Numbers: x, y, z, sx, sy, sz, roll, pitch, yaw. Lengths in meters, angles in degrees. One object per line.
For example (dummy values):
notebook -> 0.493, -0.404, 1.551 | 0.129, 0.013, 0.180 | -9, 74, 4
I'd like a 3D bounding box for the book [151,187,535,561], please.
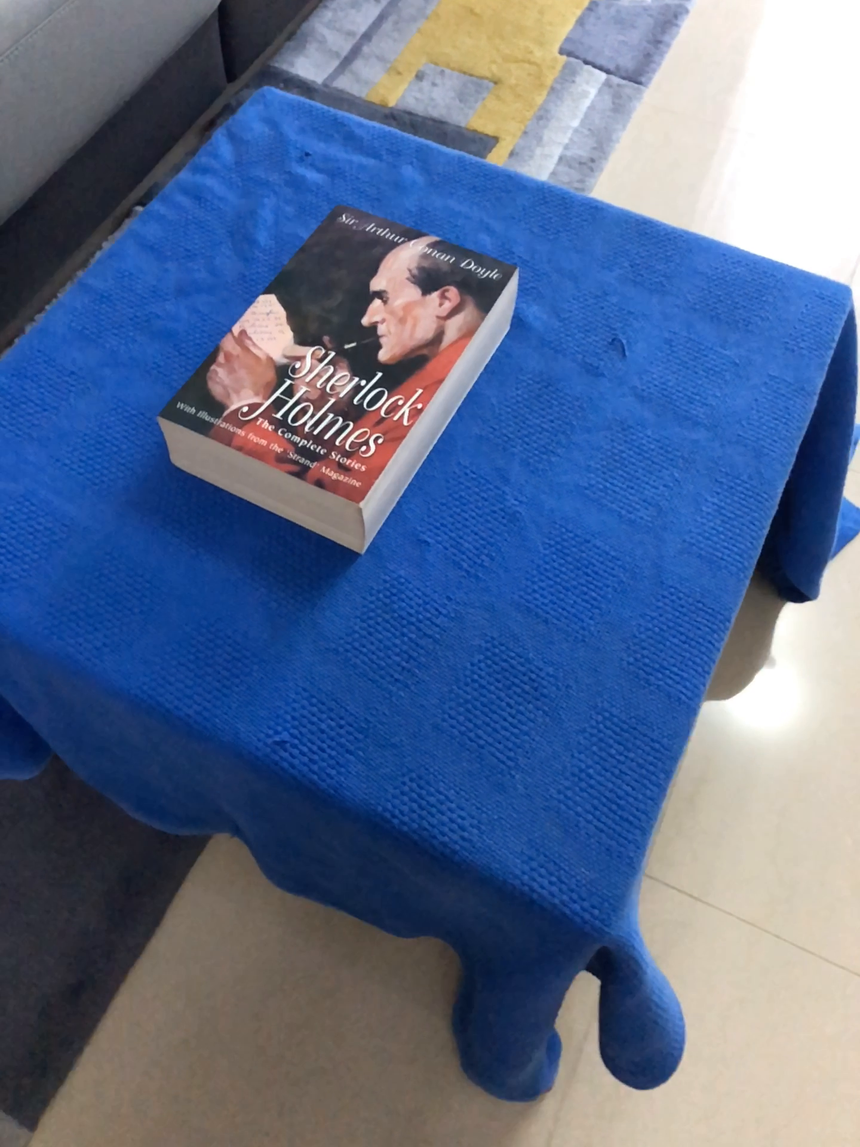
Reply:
book -> -0.052, -0.150, 0.672 | 0.160, 0.070, 0.241 | 25, 62, 13
